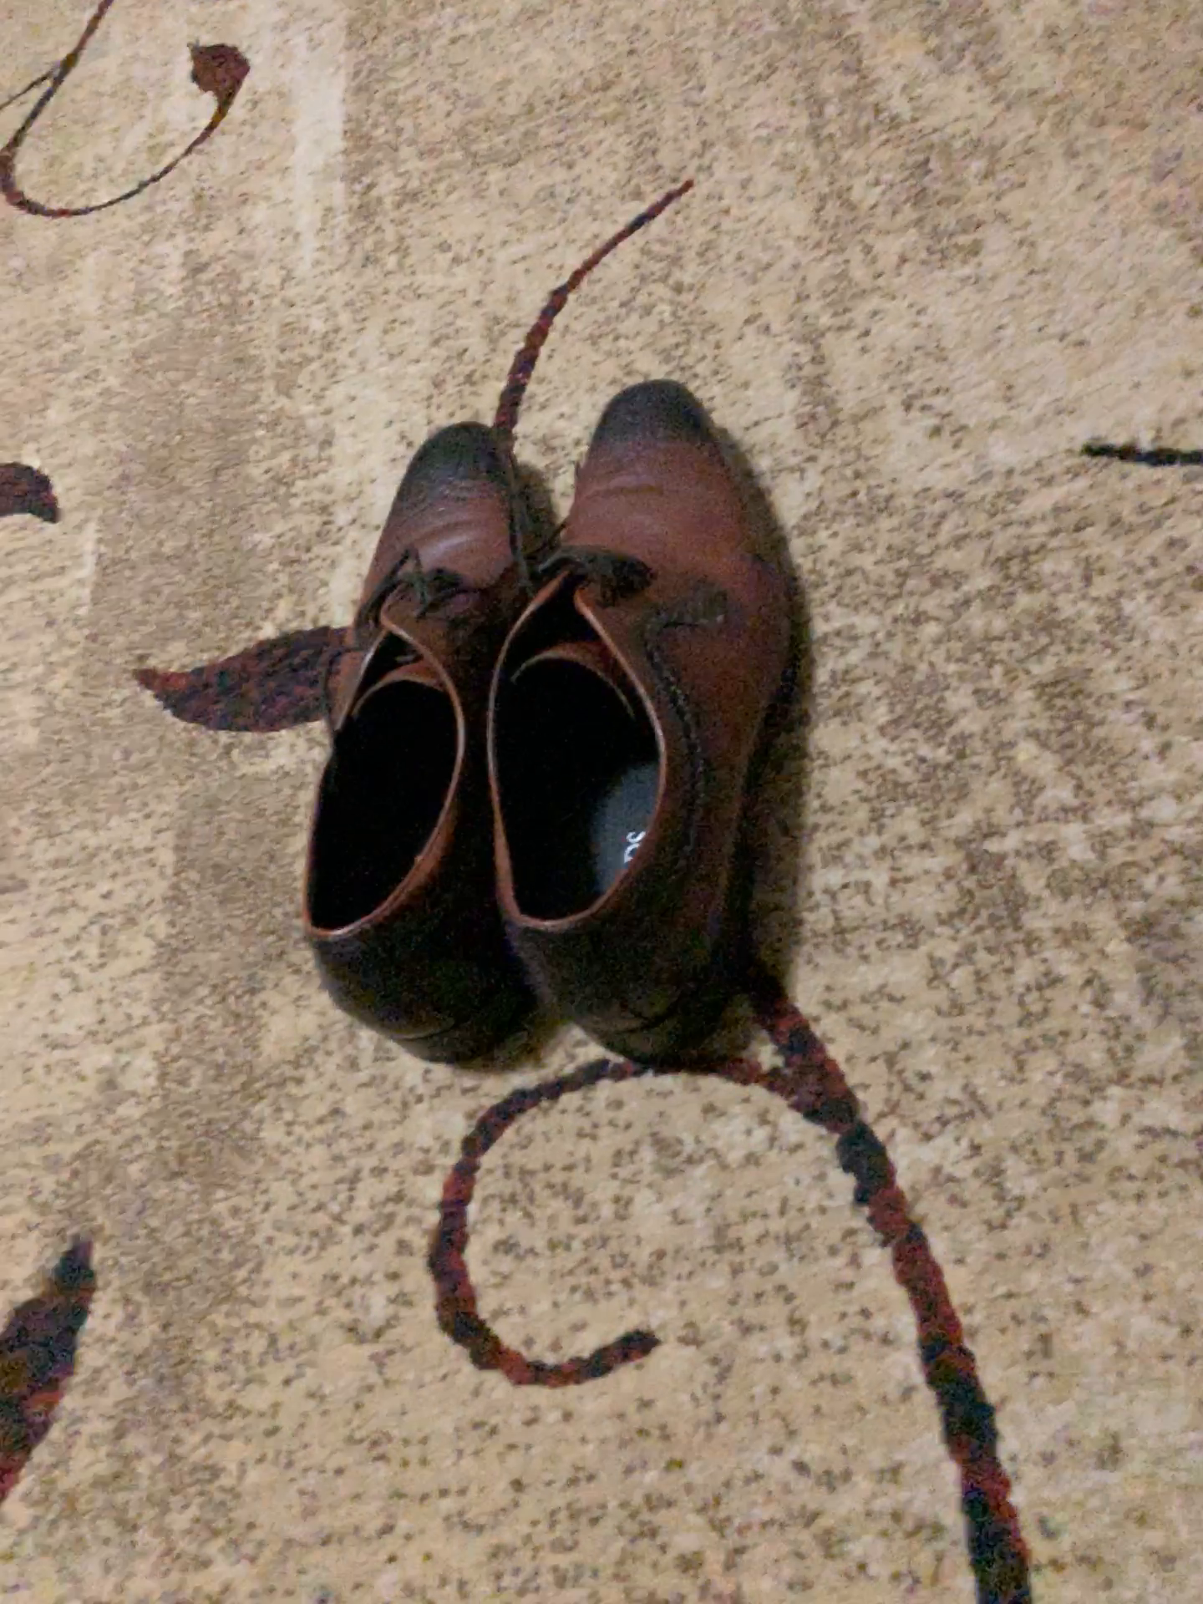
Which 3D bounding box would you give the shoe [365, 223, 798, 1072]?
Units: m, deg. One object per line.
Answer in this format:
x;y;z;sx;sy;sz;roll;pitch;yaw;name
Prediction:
0.010;-0.056;0.437;0.096;0.115;0.275;-5;60;20;shoe

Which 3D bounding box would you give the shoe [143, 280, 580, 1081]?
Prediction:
-0.074;-0.049;0.469;0.096;0.115;0.275;-10;59;17;shoe
